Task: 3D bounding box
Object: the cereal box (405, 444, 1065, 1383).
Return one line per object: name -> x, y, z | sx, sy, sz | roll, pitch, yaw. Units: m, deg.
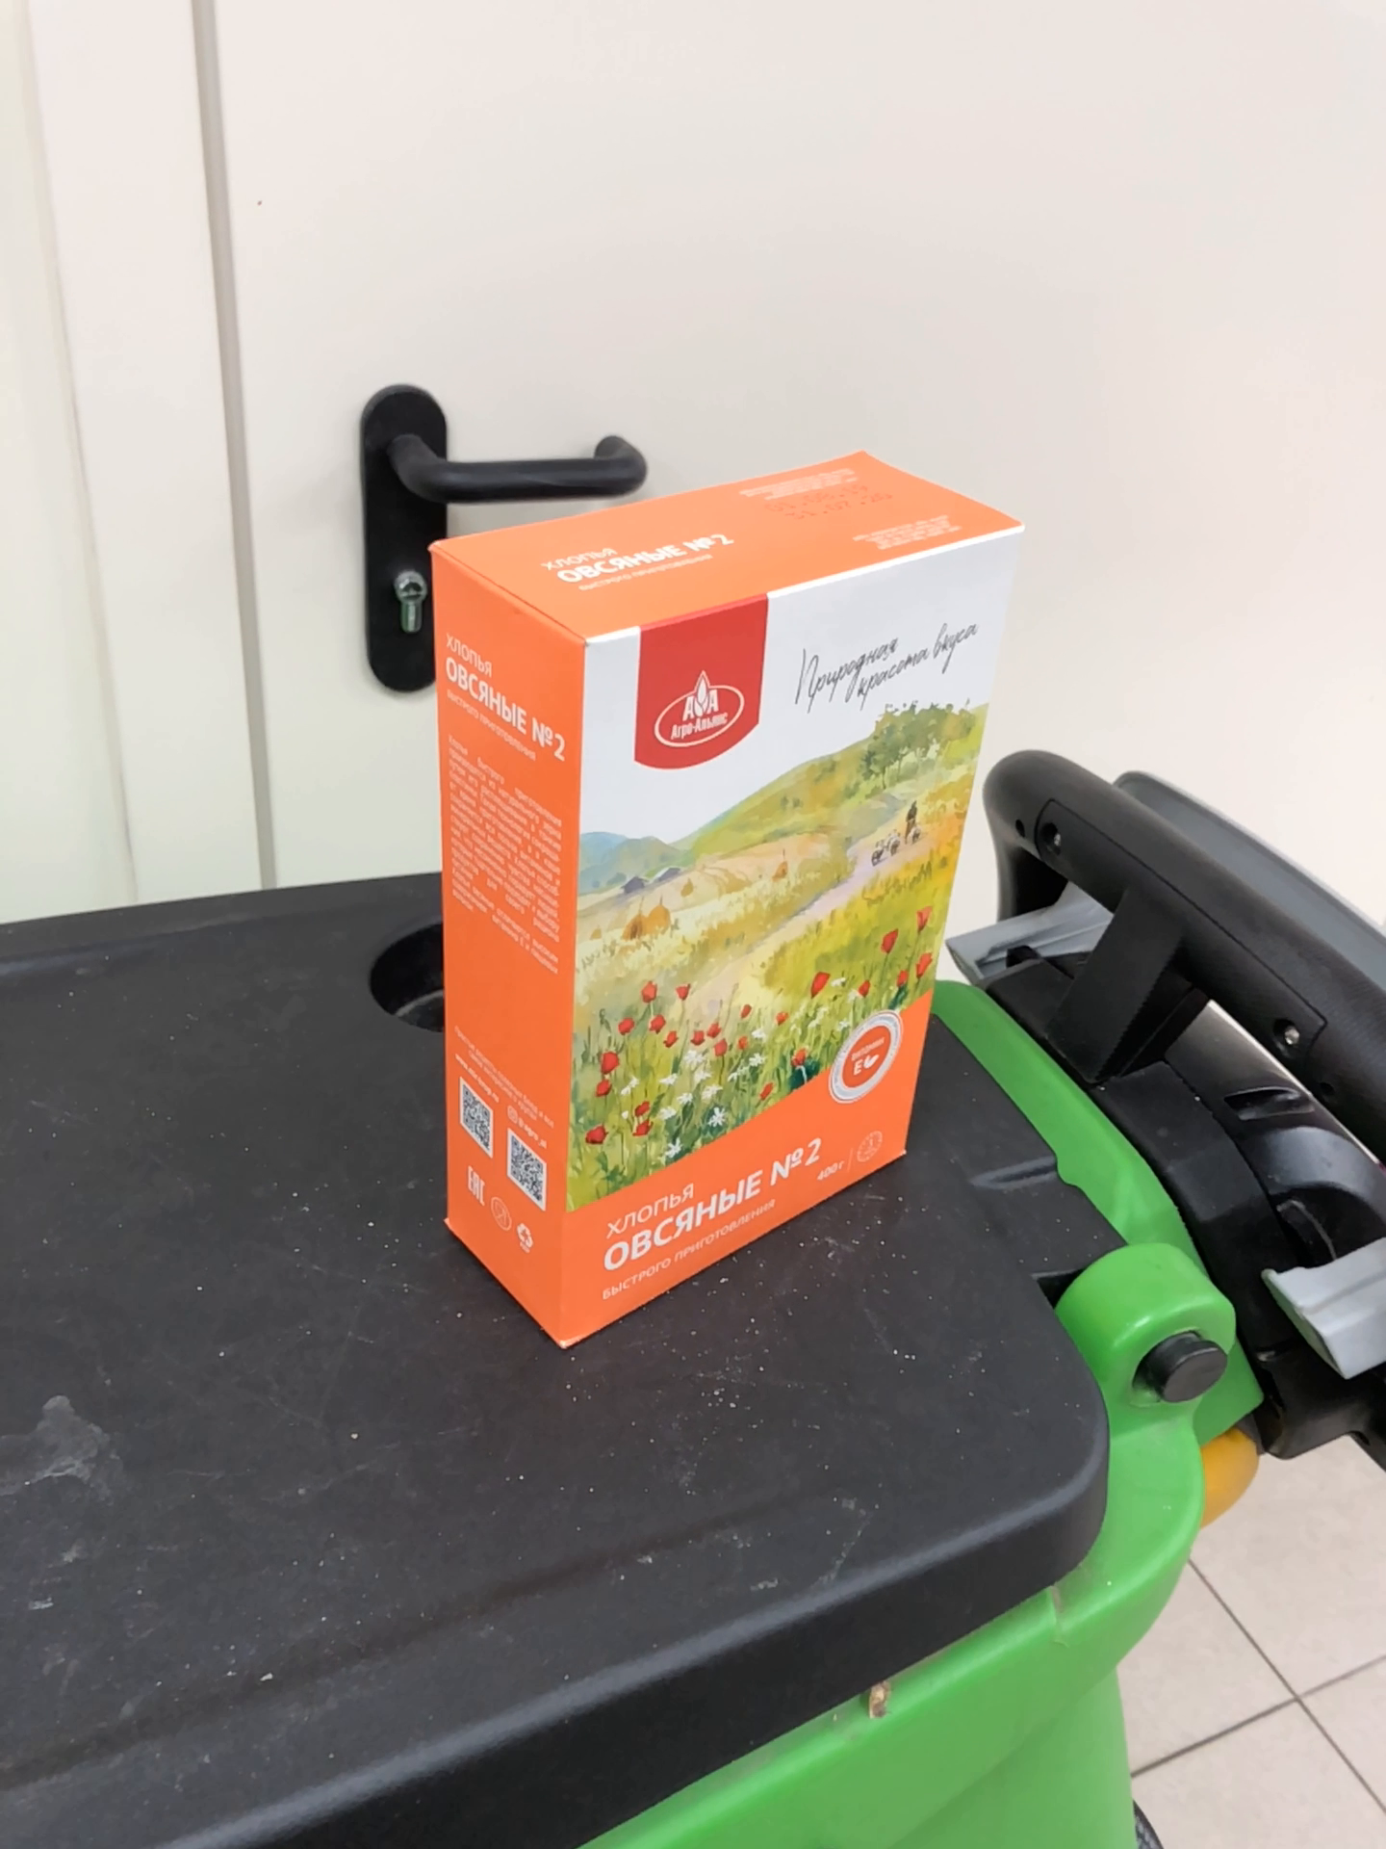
cereal box -> 0.008, -0.005, 0.405 | 0.150, 0.209, 0.060 | -22, 41, -35
